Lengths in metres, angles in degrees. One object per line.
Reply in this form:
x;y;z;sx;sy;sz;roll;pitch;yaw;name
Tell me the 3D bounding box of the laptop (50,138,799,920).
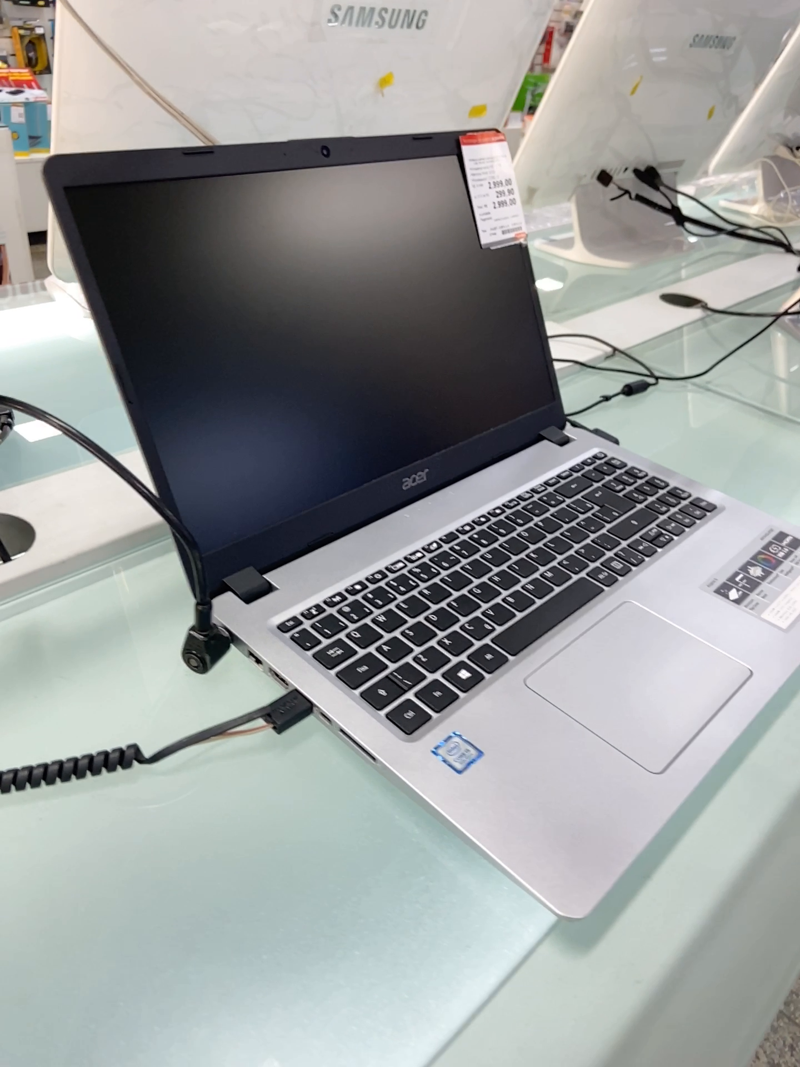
0.073;-0.080;0.478;0.364;0.204;0.367;31;41;33;laptop
